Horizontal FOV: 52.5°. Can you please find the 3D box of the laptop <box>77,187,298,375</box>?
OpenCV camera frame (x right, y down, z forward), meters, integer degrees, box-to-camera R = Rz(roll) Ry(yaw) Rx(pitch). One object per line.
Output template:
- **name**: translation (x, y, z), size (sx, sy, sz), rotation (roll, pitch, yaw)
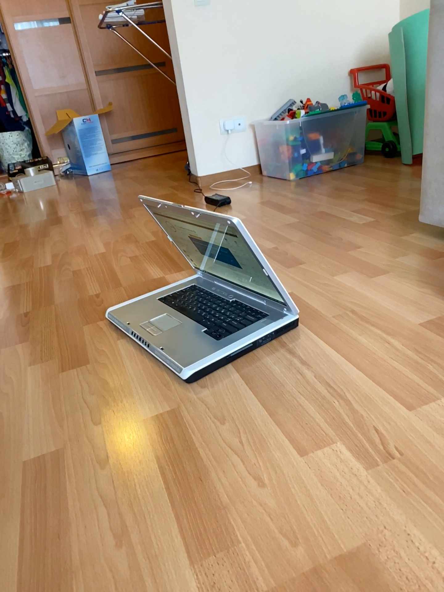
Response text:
- **laptop**: translation (-0.083, -0.067, 0.960), size (0.273, 0.238, 0.388), rotation (-23, 28, -29)
